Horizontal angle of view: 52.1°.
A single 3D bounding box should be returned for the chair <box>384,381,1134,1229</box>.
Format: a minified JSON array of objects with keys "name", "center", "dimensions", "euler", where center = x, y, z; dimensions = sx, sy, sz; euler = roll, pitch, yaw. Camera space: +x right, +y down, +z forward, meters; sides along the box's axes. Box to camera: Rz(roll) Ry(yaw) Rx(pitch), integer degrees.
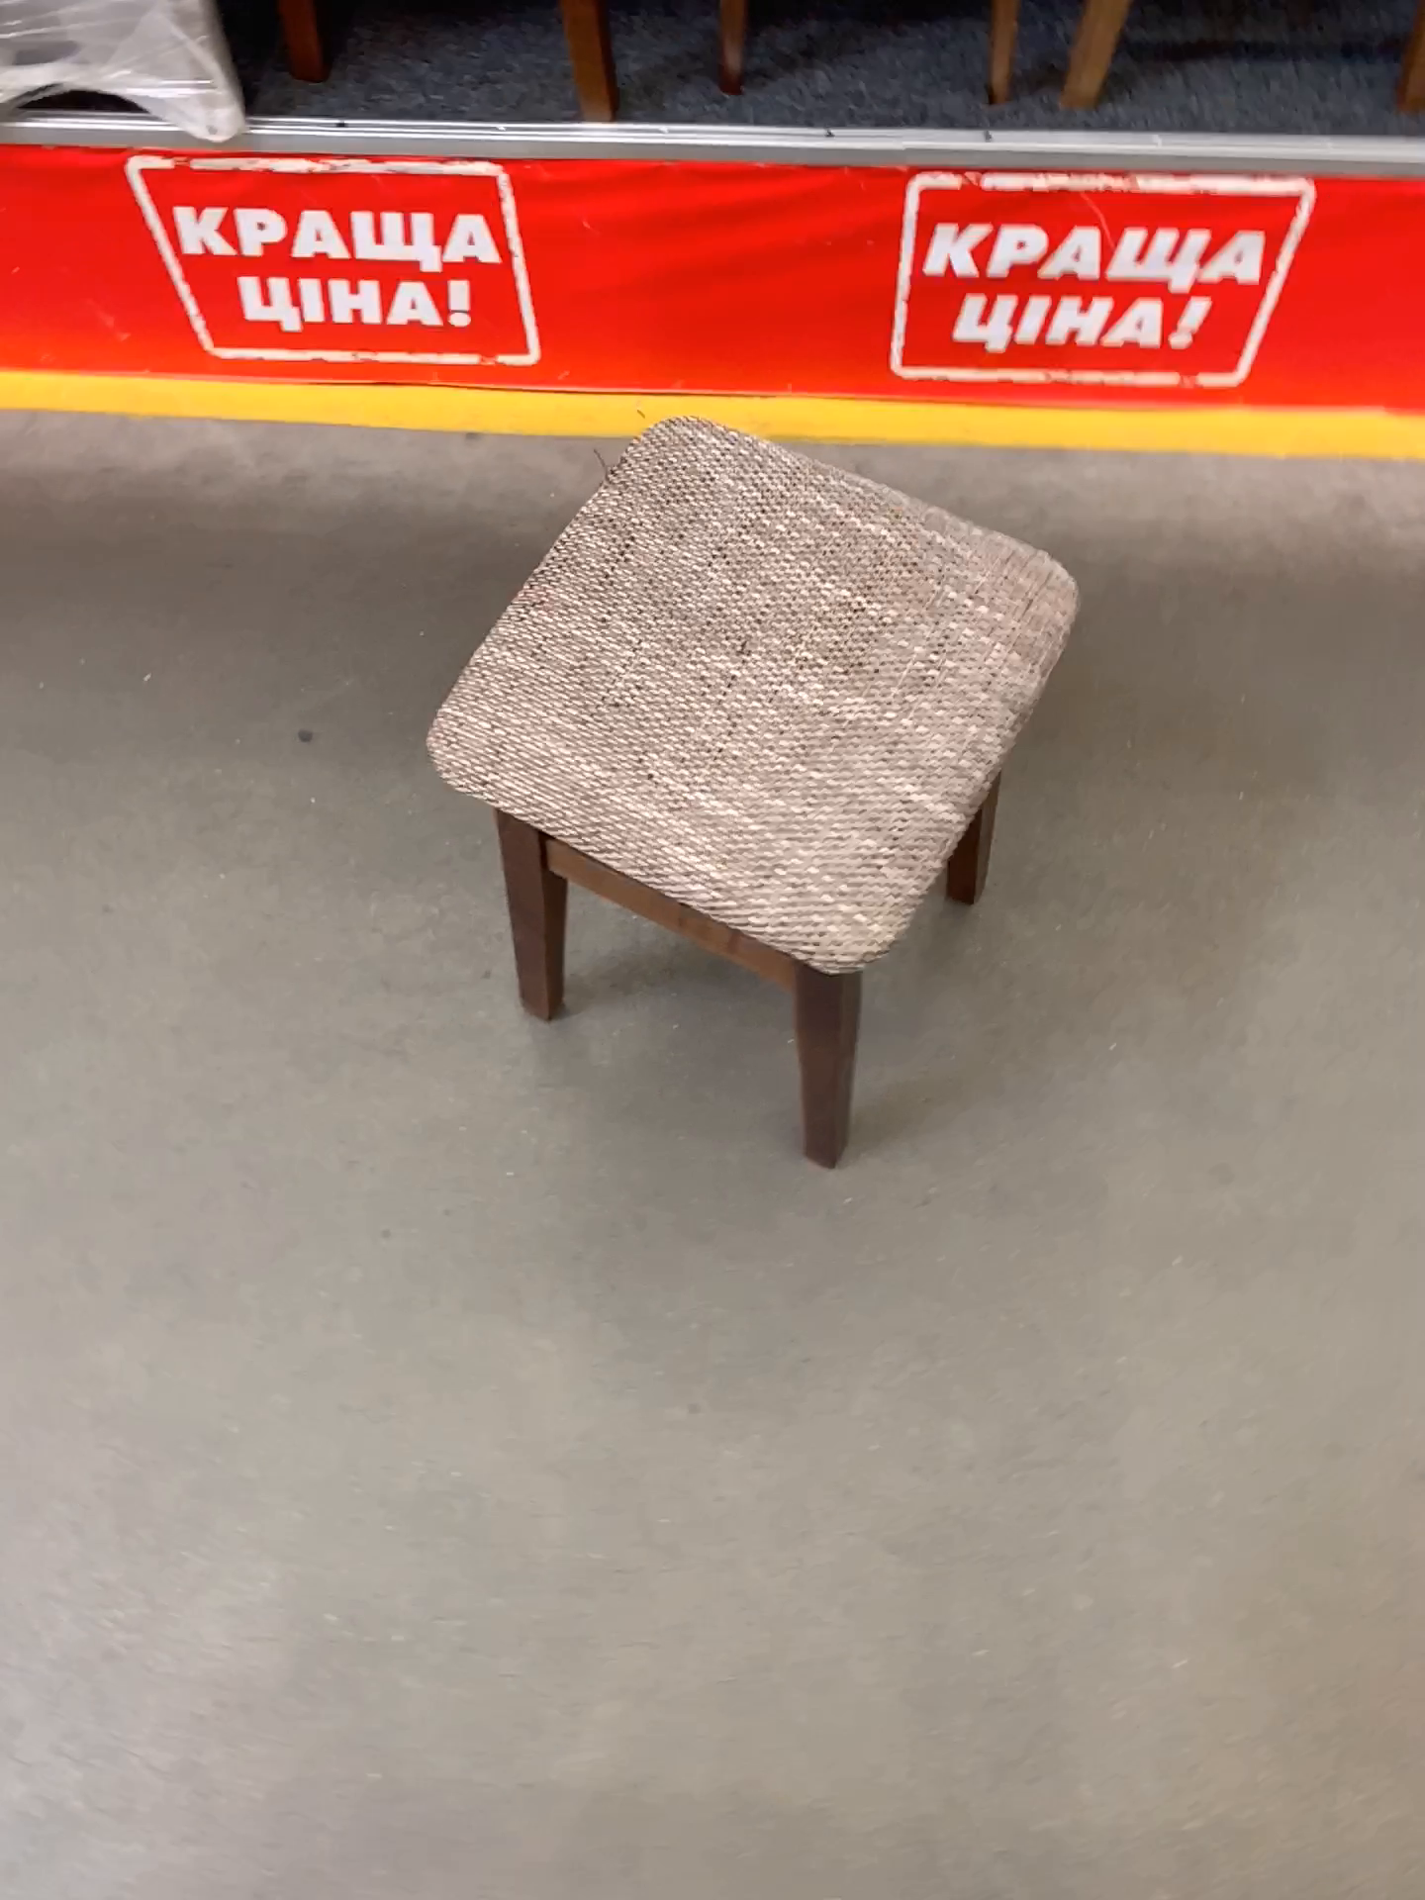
[{"name":"chair","center":[0.041,-0.080,1.133],"dimensions":[0.340,0.479,0.360],"euler":[27,68,13]}]
